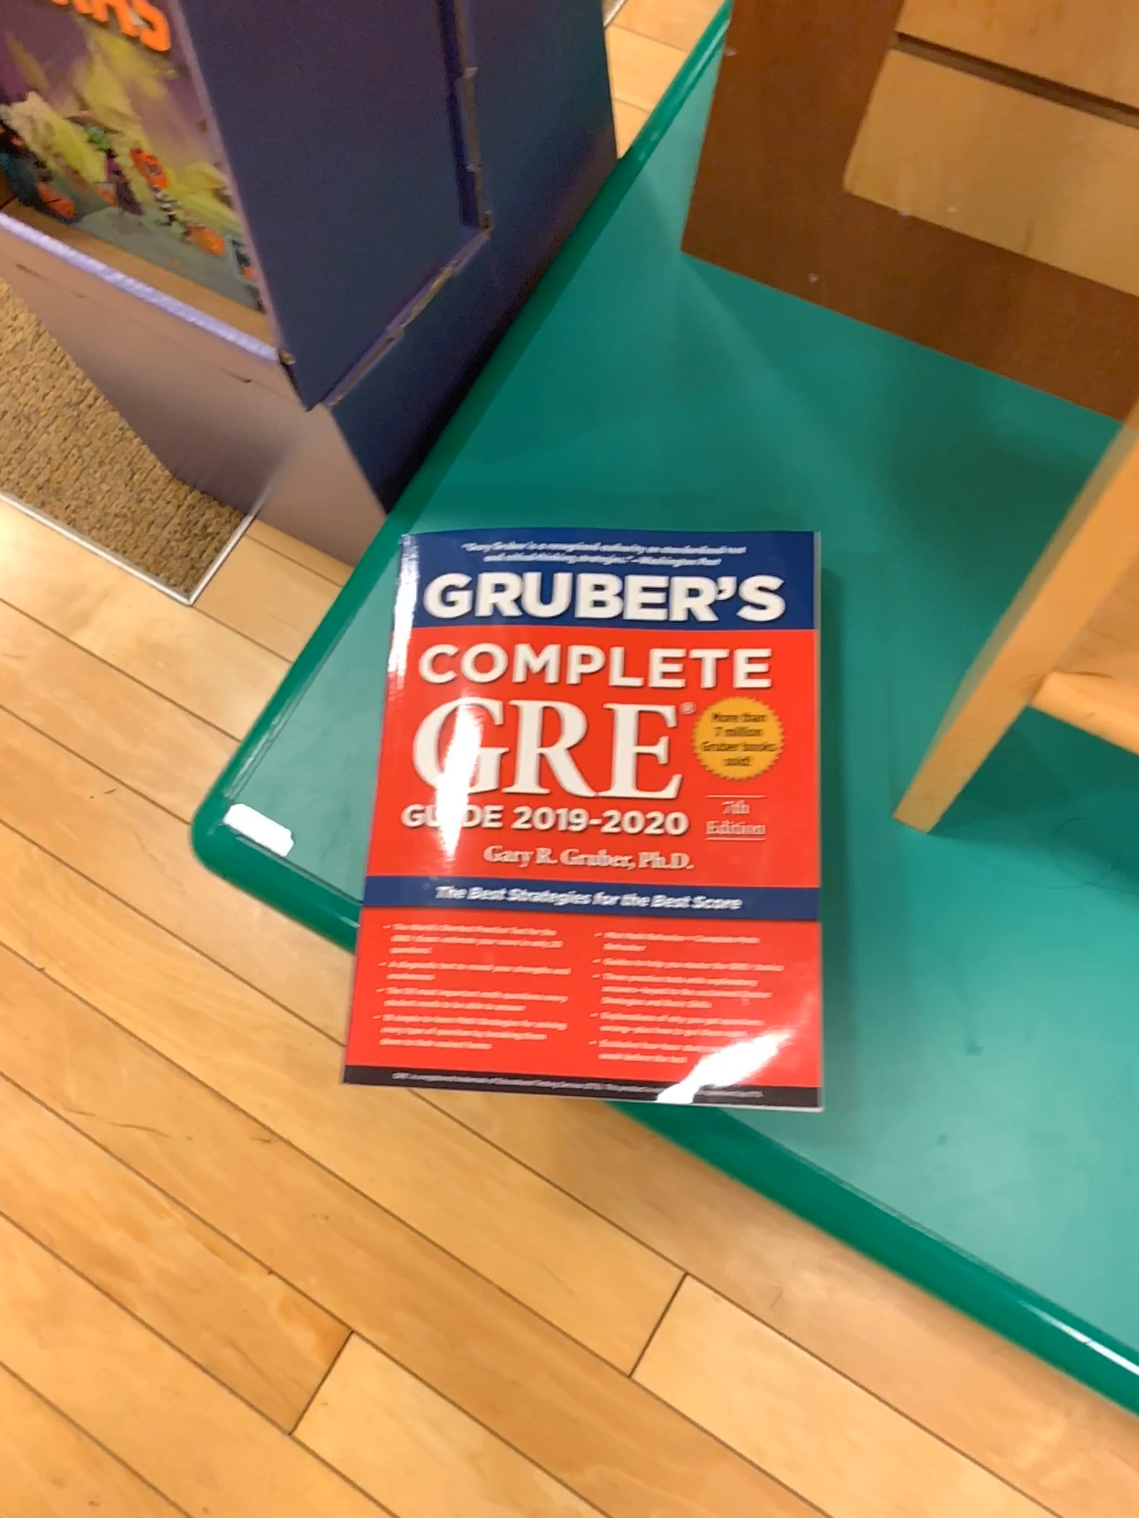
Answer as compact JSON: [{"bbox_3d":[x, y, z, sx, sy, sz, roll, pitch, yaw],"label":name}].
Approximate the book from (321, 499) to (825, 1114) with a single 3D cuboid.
[{"bbox_3d":[0.009,0.014,0.567,0.220,0.040,0.290,1,73,7],"label":"book"}]
